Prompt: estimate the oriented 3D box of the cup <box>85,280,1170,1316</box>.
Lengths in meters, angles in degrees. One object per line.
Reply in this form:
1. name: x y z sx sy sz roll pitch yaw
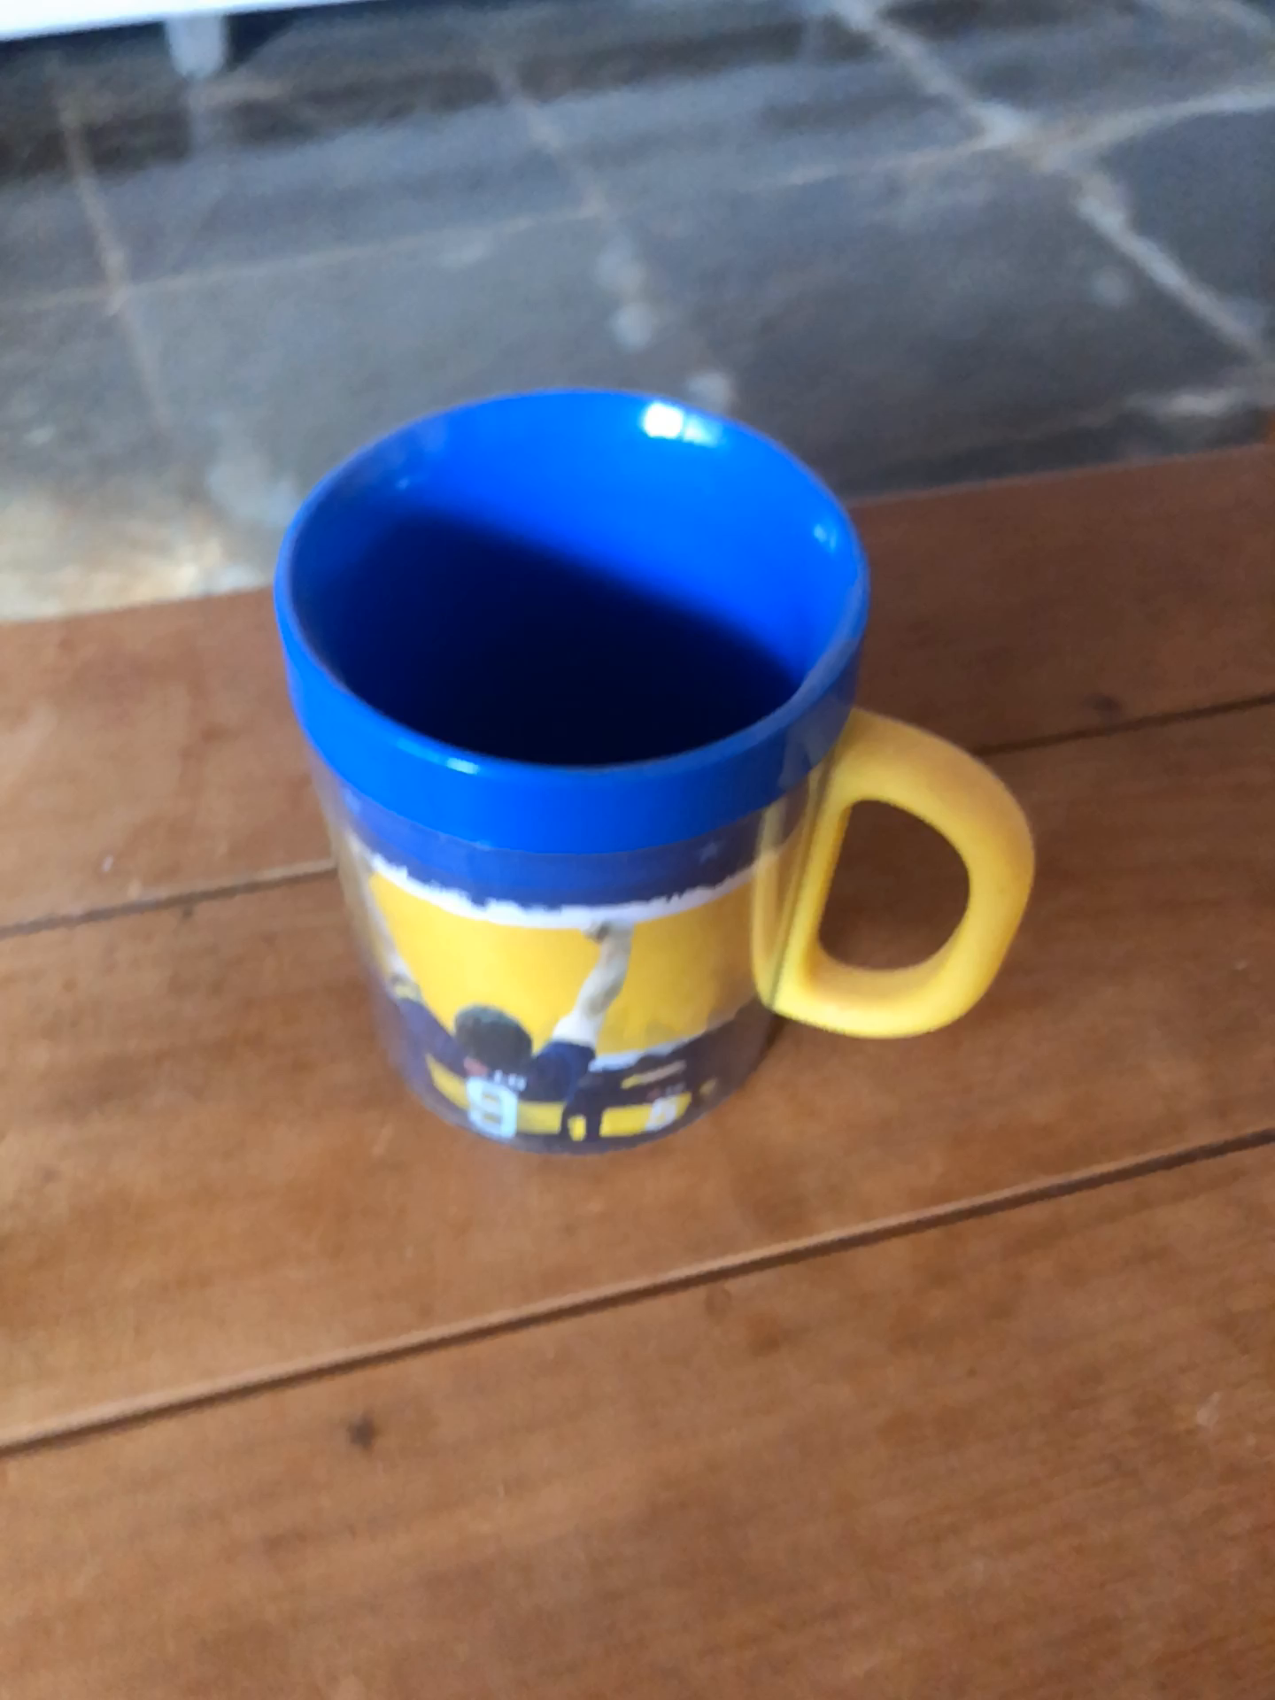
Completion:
1. cup: 0.003 -0.007 0.232 0.120 0.109 0.091 16 53 11
